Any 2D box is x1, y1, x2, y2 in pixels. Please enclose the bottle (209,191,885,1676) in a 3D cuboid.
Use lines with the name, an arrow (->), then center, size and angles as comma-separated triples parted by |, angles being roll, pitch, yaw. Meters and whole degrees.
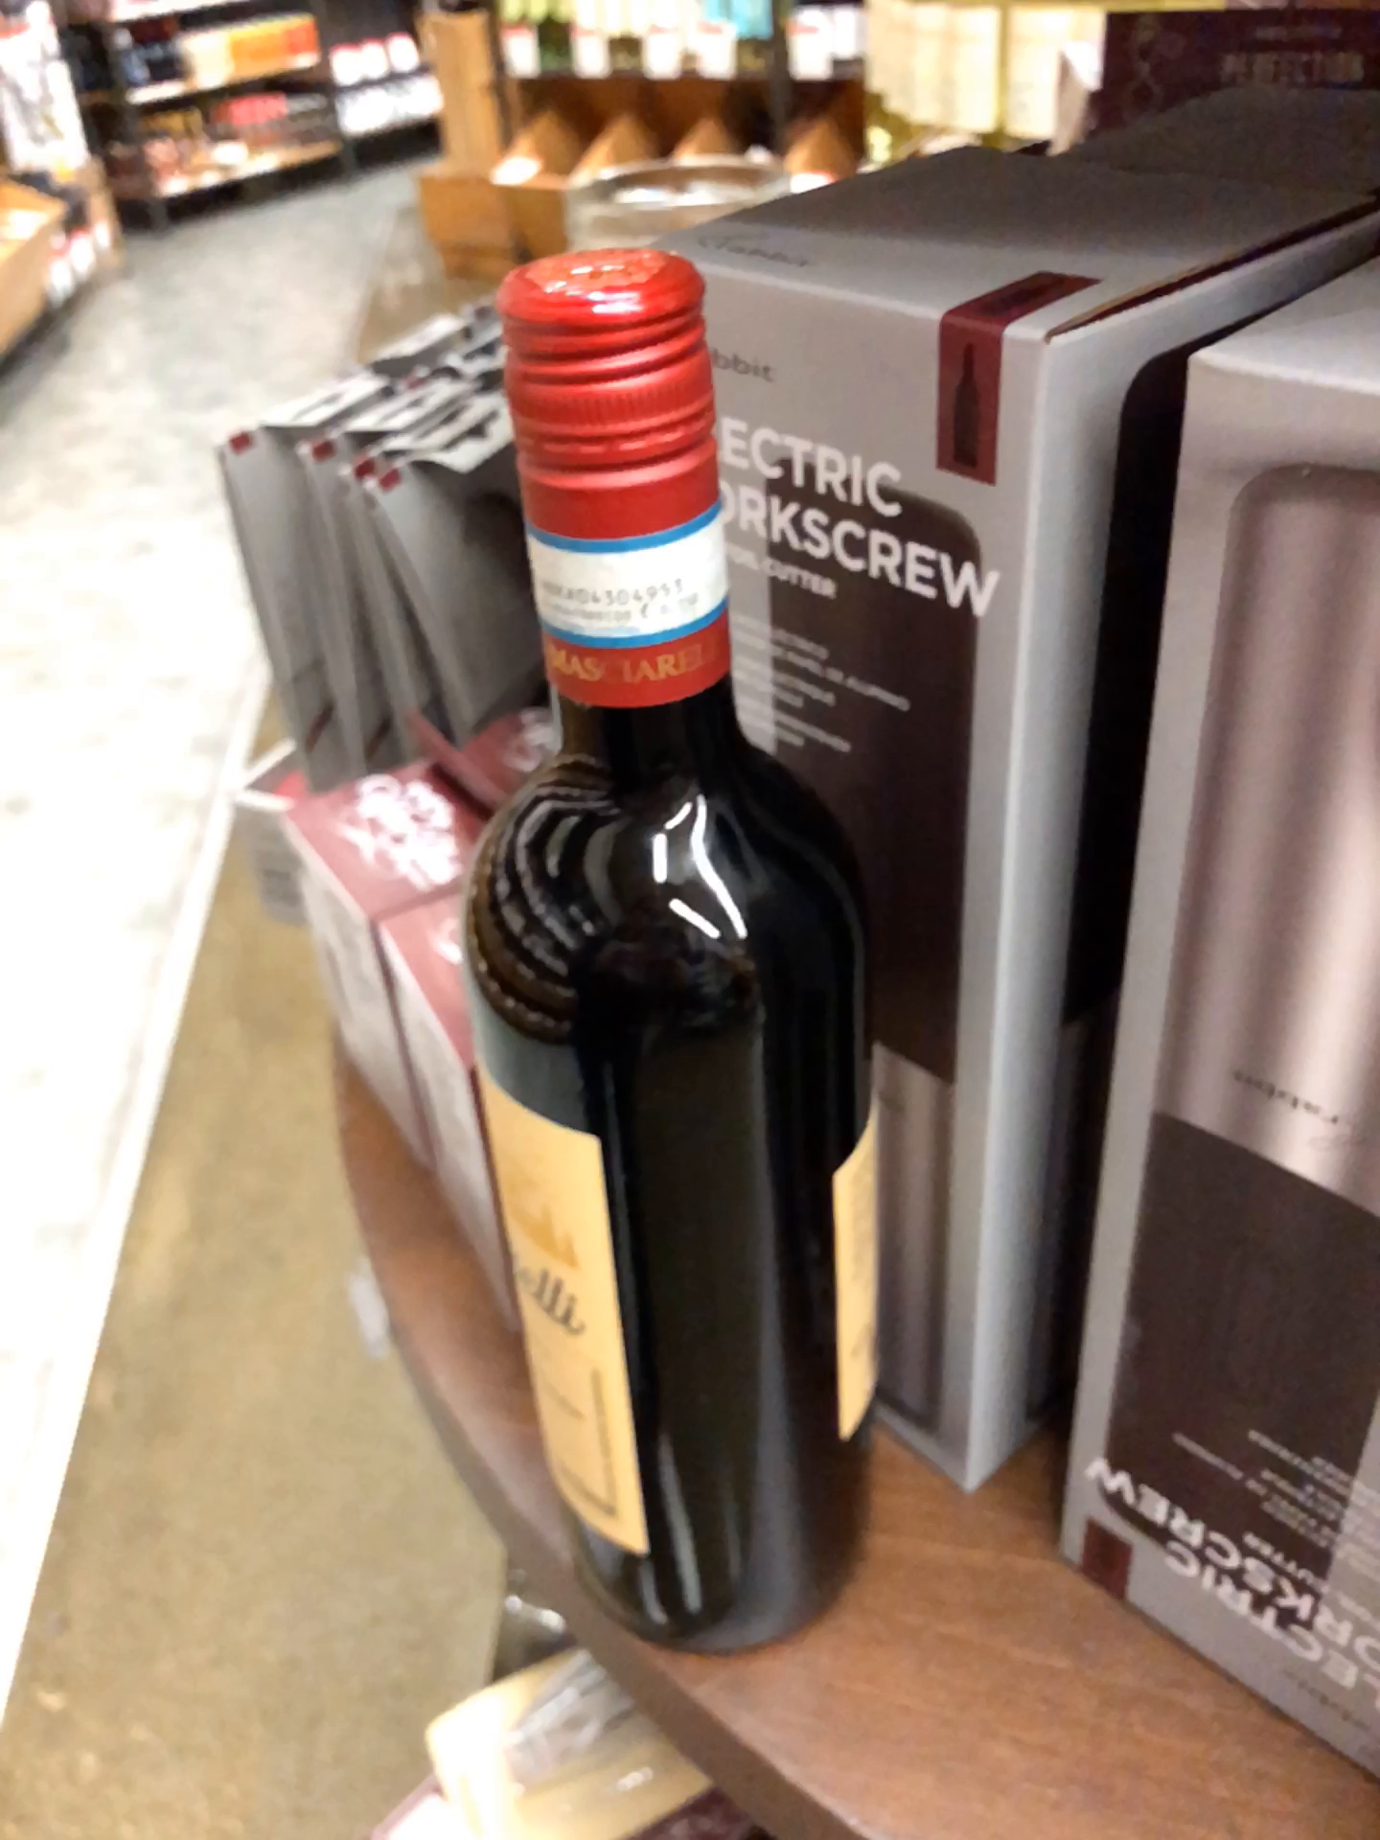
bottle -> -0.005, 0.027, 0.290 | 0.075, 0.283, 0.072 | -4, 34, 3
